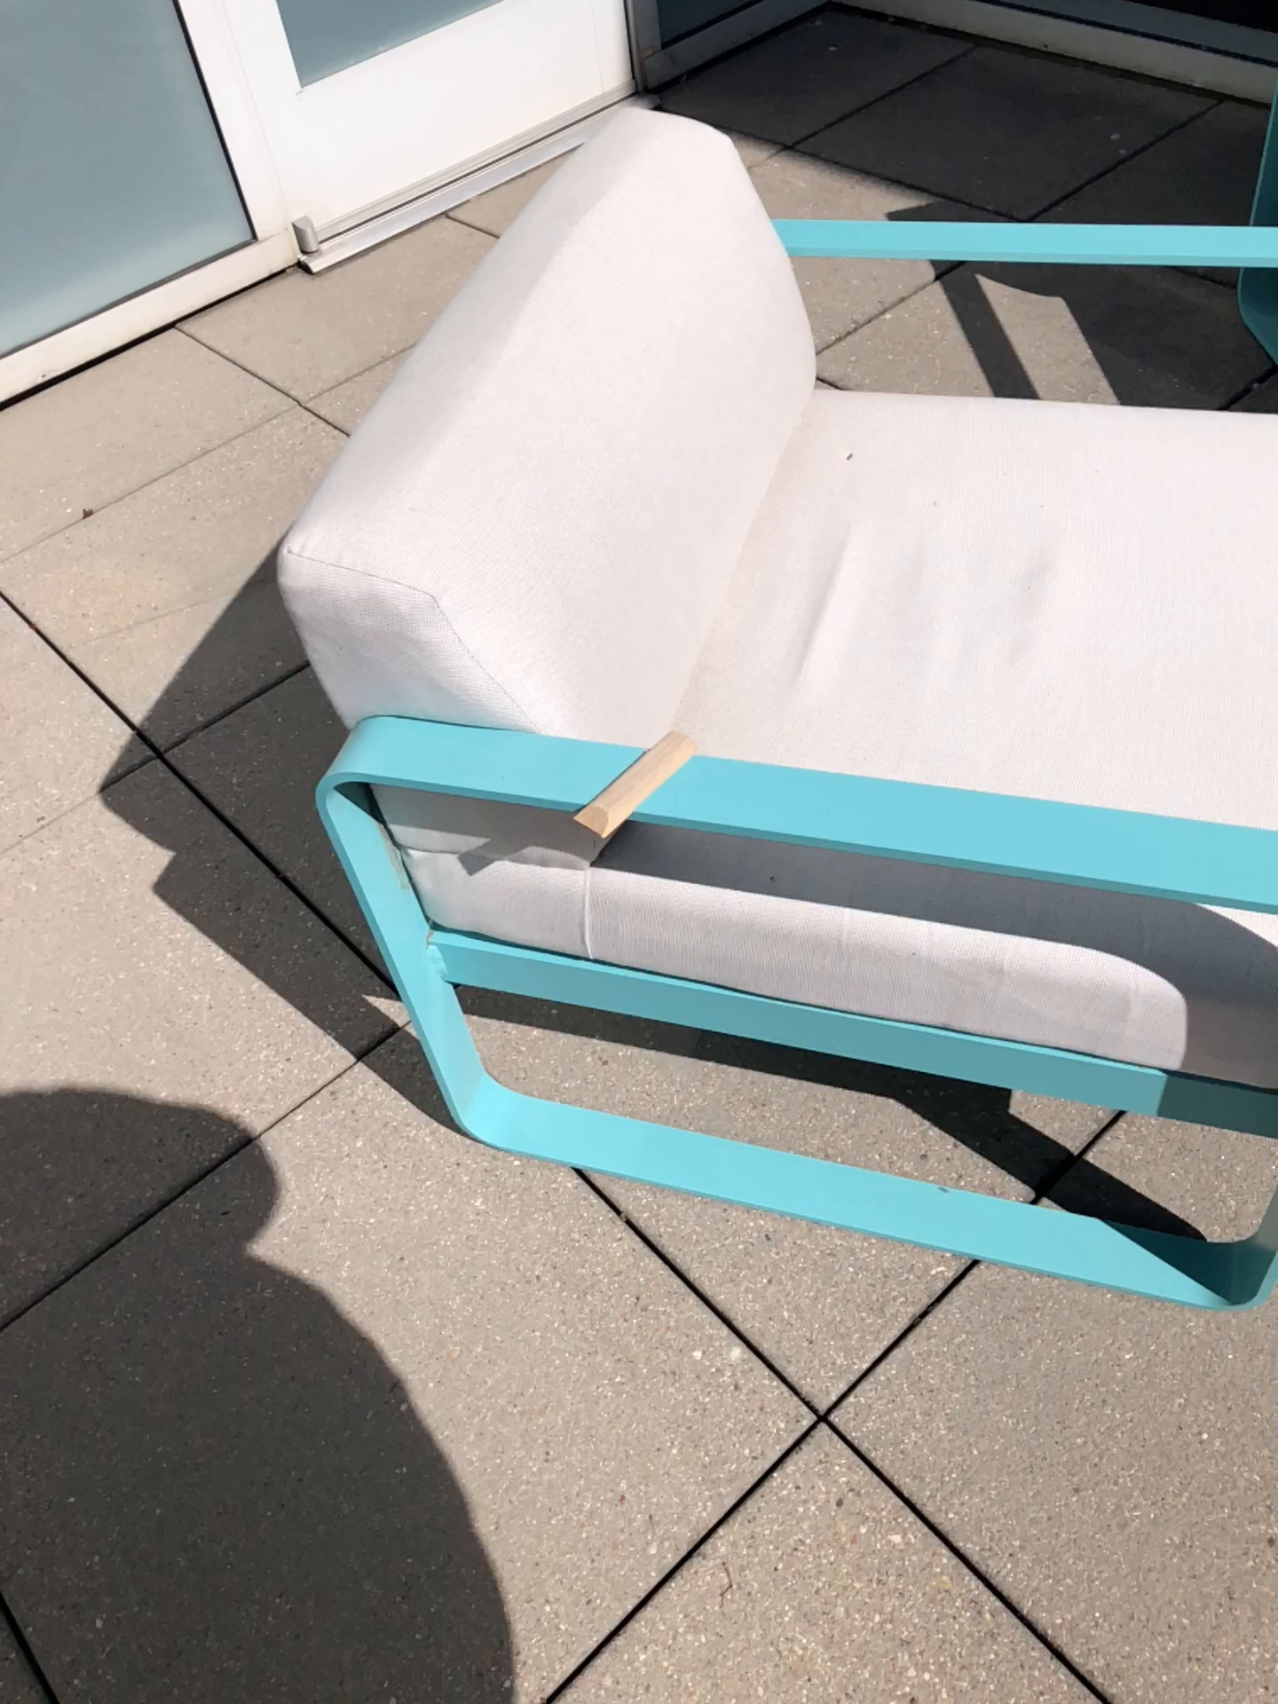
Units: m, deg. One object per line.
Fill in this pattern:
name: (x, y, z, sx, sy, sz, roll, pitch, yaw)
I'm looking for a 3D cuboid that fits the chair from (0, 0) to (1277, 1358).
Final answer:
chair: (0.193, -0.220, 1.271, 0.871, 0.767, 0.903, 6, 50, 15)
